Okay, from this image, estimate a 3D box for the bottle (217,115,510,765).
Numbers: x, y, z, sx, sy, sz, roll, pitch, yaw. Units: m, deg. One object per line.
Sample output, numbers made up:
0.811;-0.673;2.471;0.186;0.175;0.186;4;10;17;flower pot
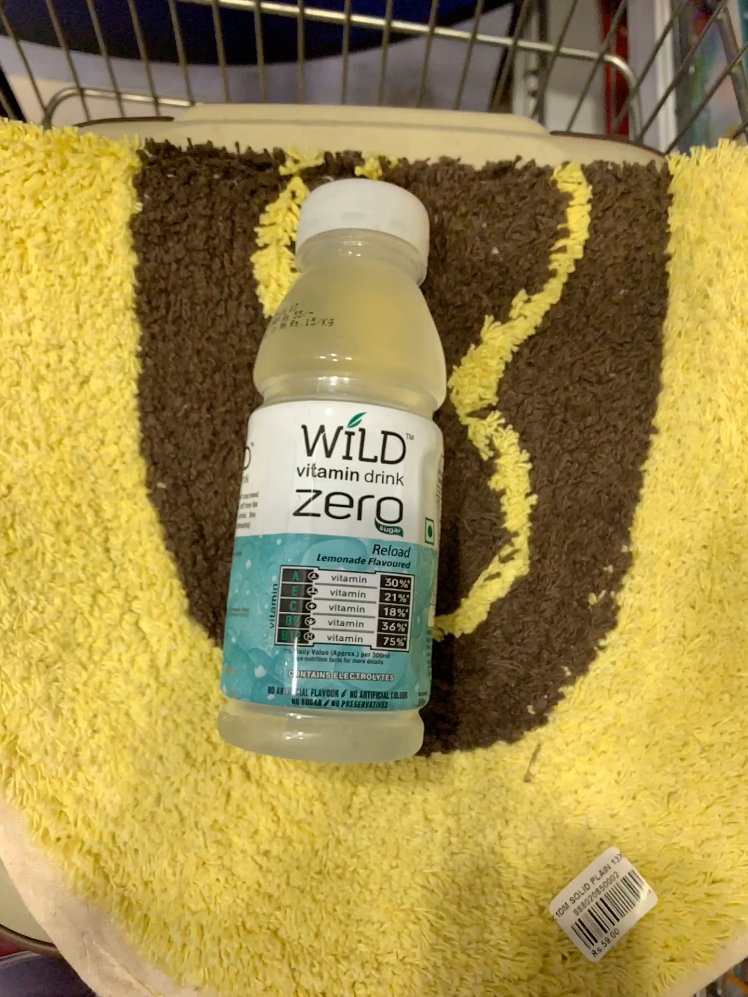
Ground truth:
0.000;-0.017;0.211;0.060;0.040;0.160;5;79;-2;bottle
